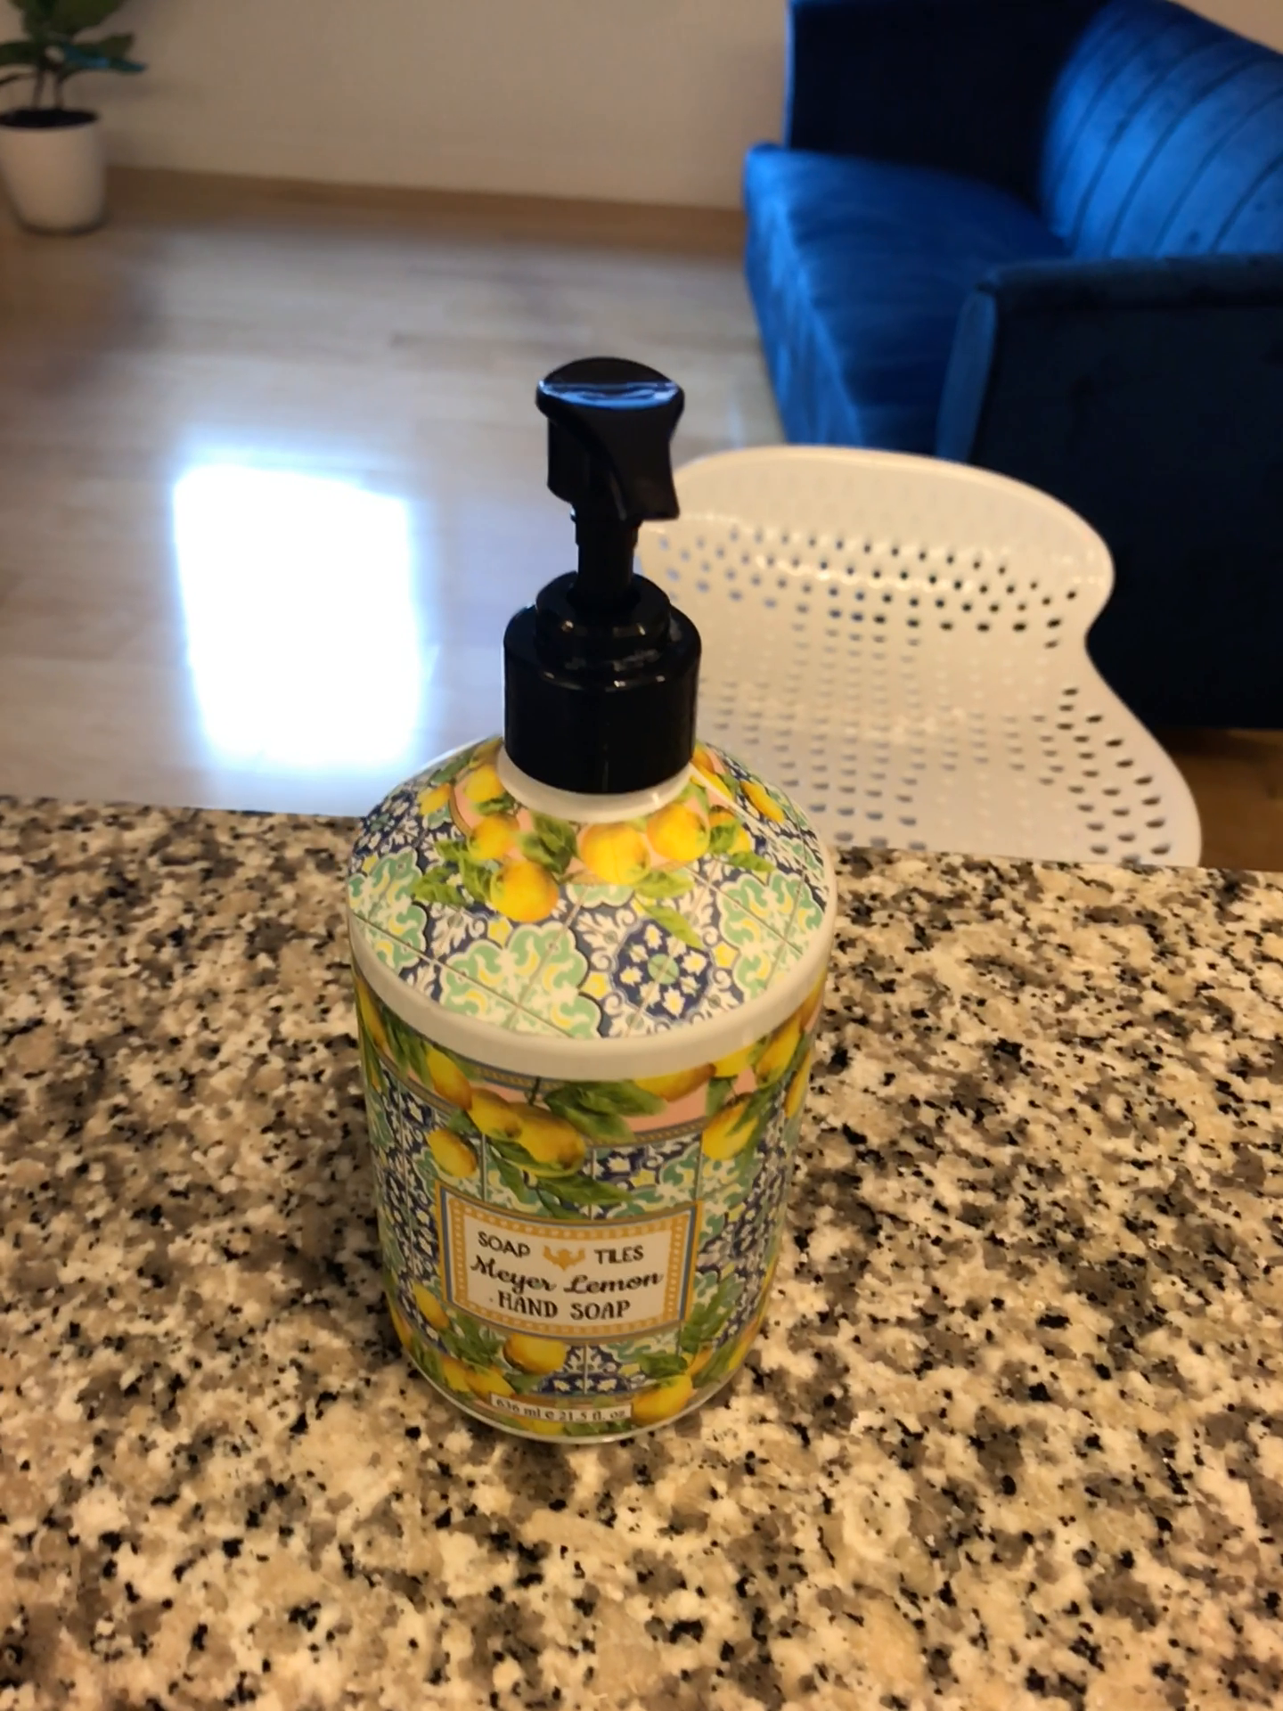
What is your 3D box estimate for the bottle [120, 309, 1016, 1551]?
[{"bbox_3d":[-0.011,0.022,0.239,0.090,0.189,0.101,2,39,-2],"label":"bottle"}]
